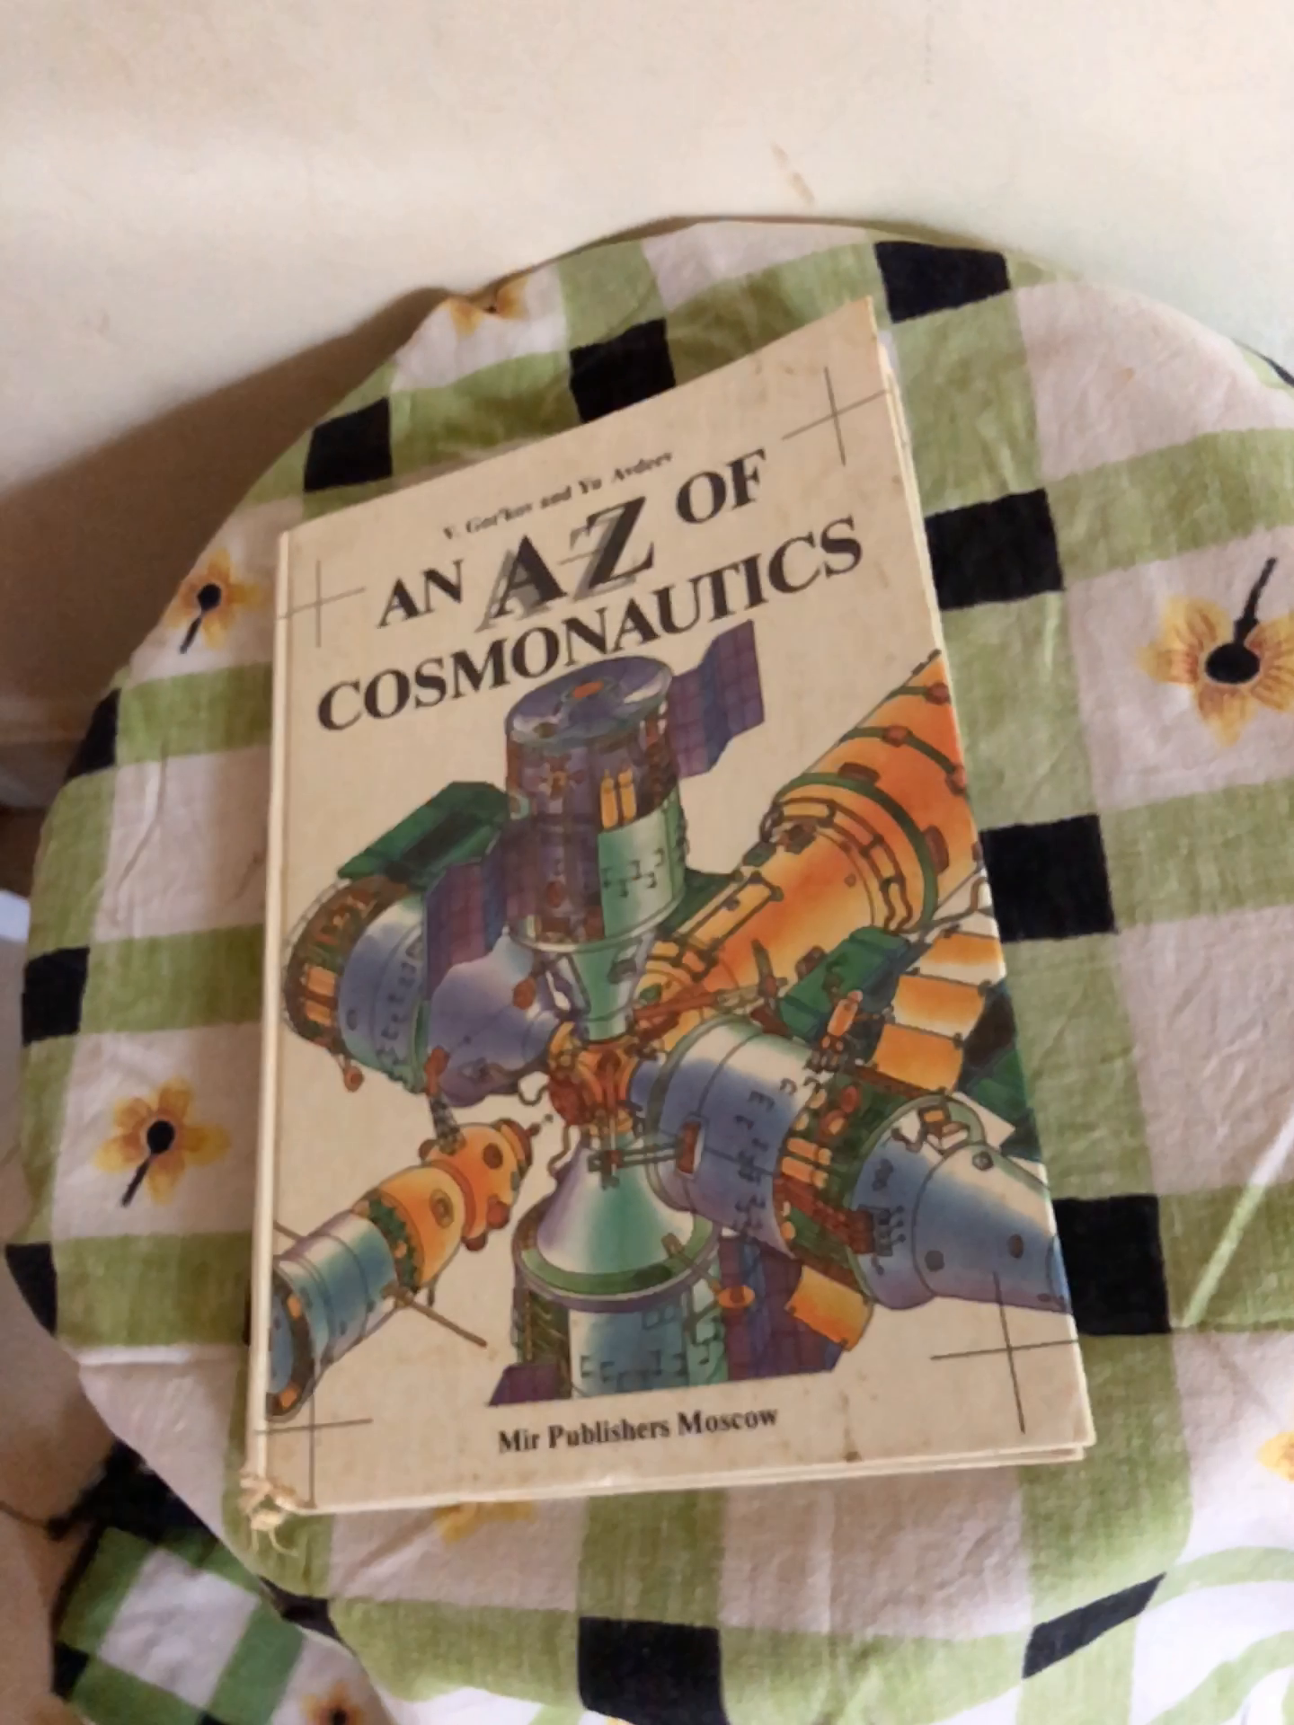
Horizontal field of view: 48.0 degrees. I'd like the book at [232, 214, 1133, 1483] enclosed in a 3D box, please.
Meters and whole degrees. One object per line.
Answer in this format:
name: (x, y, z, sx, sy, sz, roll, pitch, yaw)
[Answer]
book: (-0.006, -0.004, 0.355, 0.180, 0.060, 0.270, -13, 67, 18)
